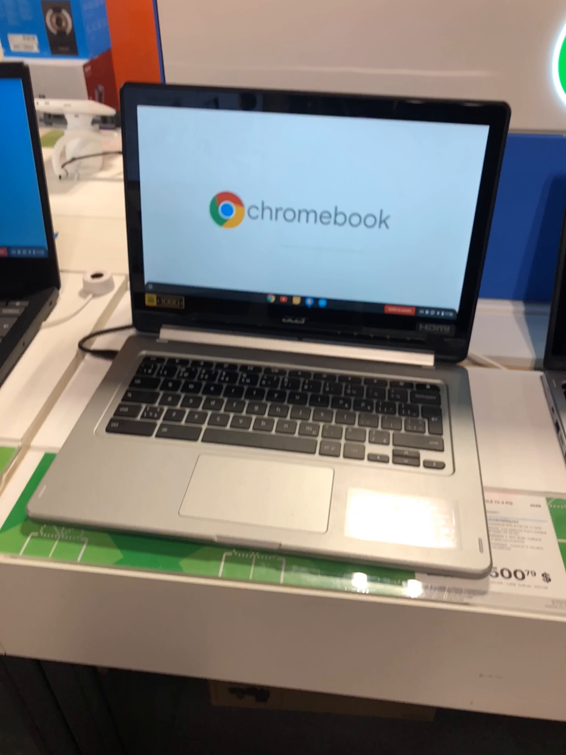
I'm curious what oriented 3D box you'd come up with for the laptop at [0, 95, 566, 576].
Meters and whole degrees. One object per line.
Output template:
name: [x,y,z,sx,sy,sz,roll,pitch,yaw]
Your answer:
laptop: [-0.007,-0.048,0.449,0.317,0.226,0.240,6,37,7]
